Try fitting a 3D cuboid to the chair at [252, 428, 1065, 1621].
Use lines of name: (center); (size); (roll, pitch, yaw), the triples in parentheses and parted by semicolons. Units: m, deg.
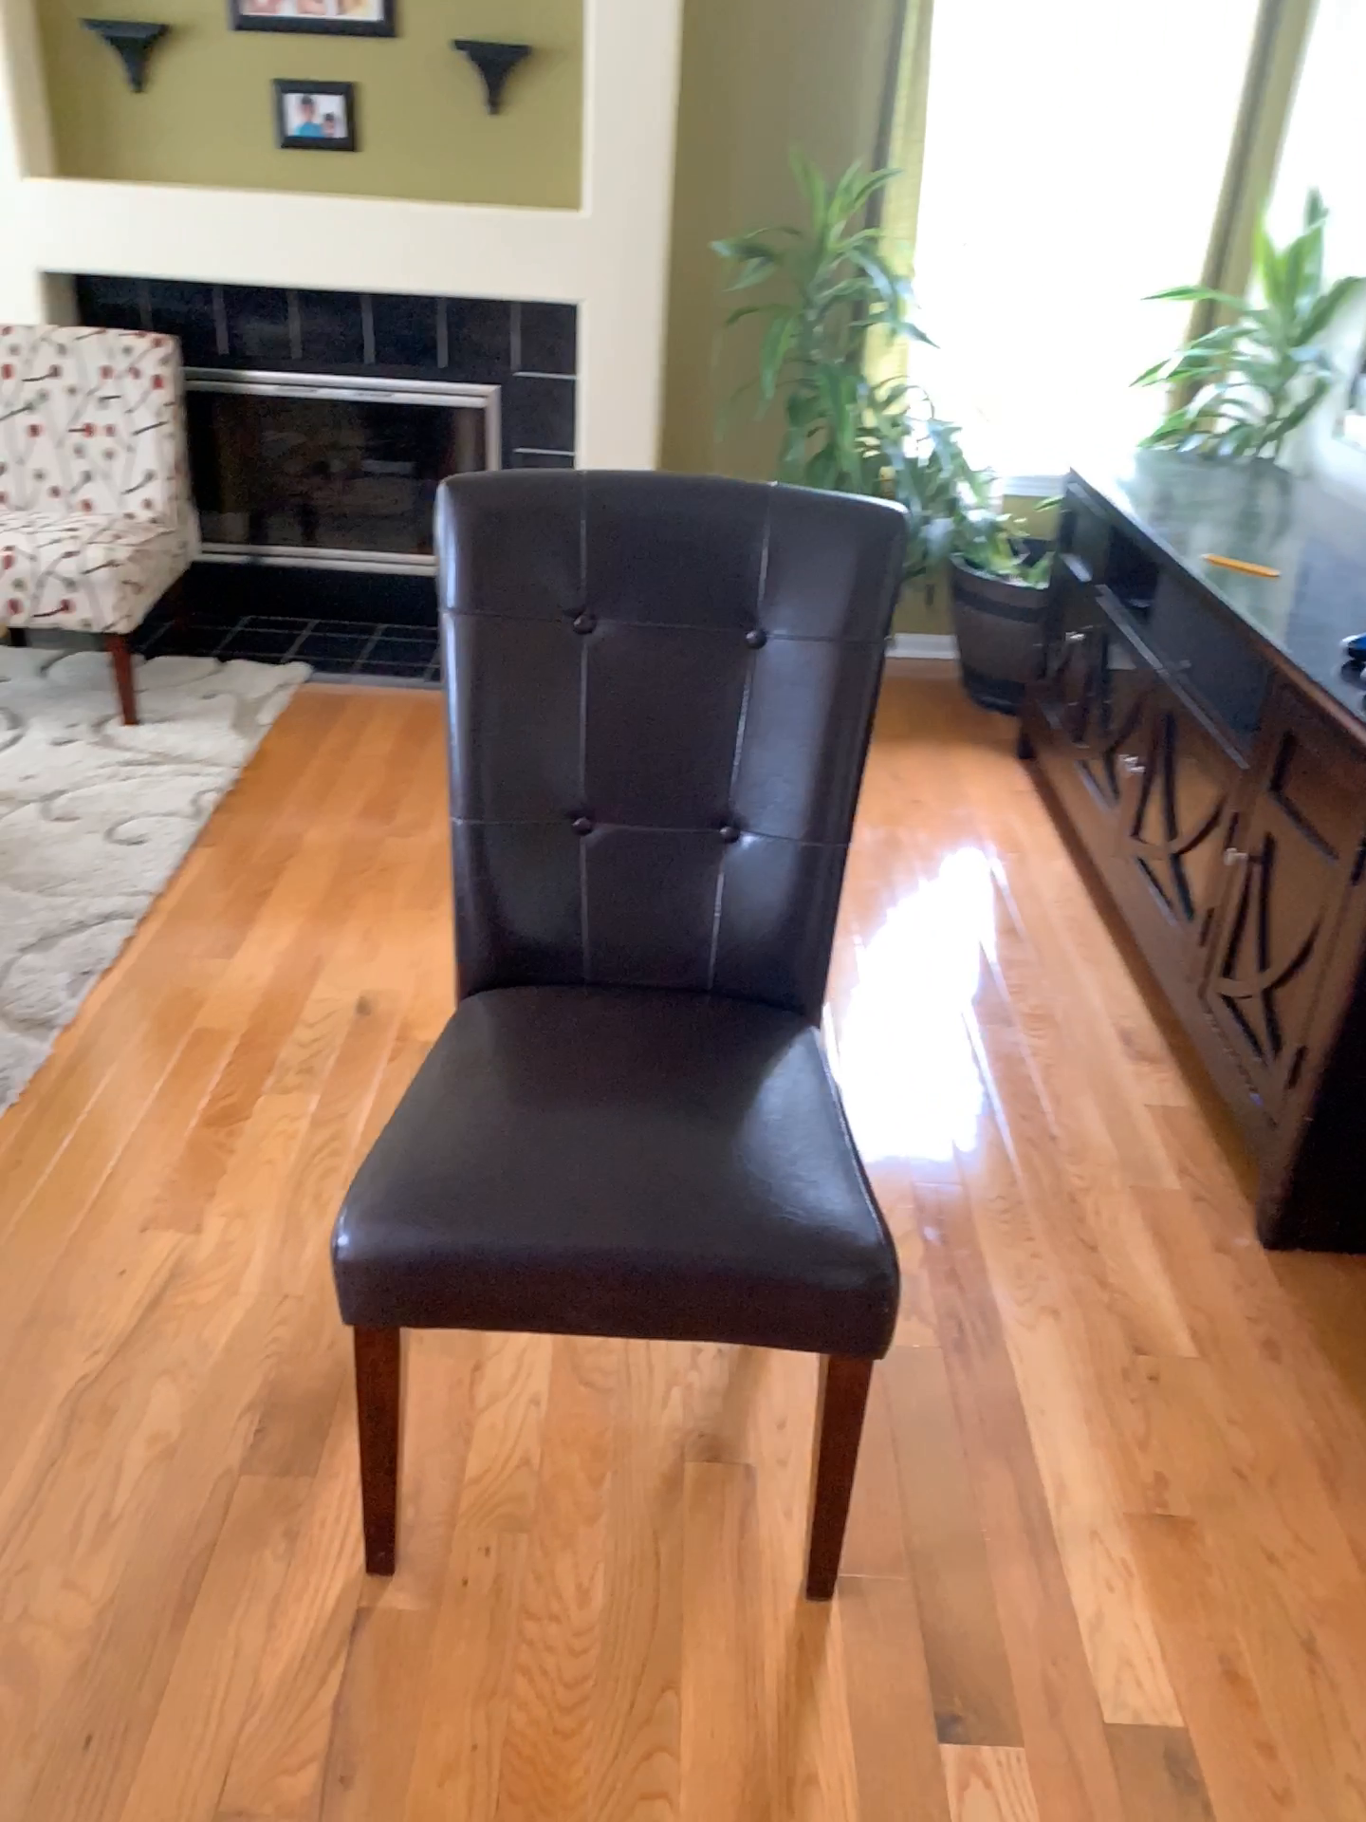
chair: (-0.035, 0.082, 1.464); (0.537, 0.977, 0.727); (4, 28, 0)
